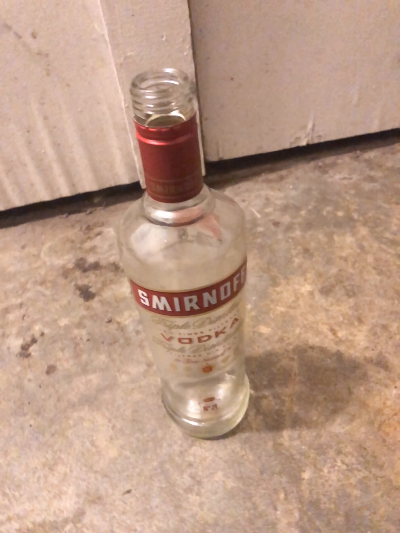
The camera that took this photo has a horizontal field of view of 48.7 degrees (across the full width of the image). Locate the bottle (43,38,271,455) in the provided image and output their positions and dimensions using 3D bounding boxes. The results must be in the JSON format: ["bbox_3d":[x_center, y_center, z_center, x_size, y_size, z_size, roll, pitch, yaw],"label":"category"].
[{"bbox_3d":[-0.005,0.024,0.286,0.080,0.288,0.081,-3,47,4],"label":"bottle"}]
